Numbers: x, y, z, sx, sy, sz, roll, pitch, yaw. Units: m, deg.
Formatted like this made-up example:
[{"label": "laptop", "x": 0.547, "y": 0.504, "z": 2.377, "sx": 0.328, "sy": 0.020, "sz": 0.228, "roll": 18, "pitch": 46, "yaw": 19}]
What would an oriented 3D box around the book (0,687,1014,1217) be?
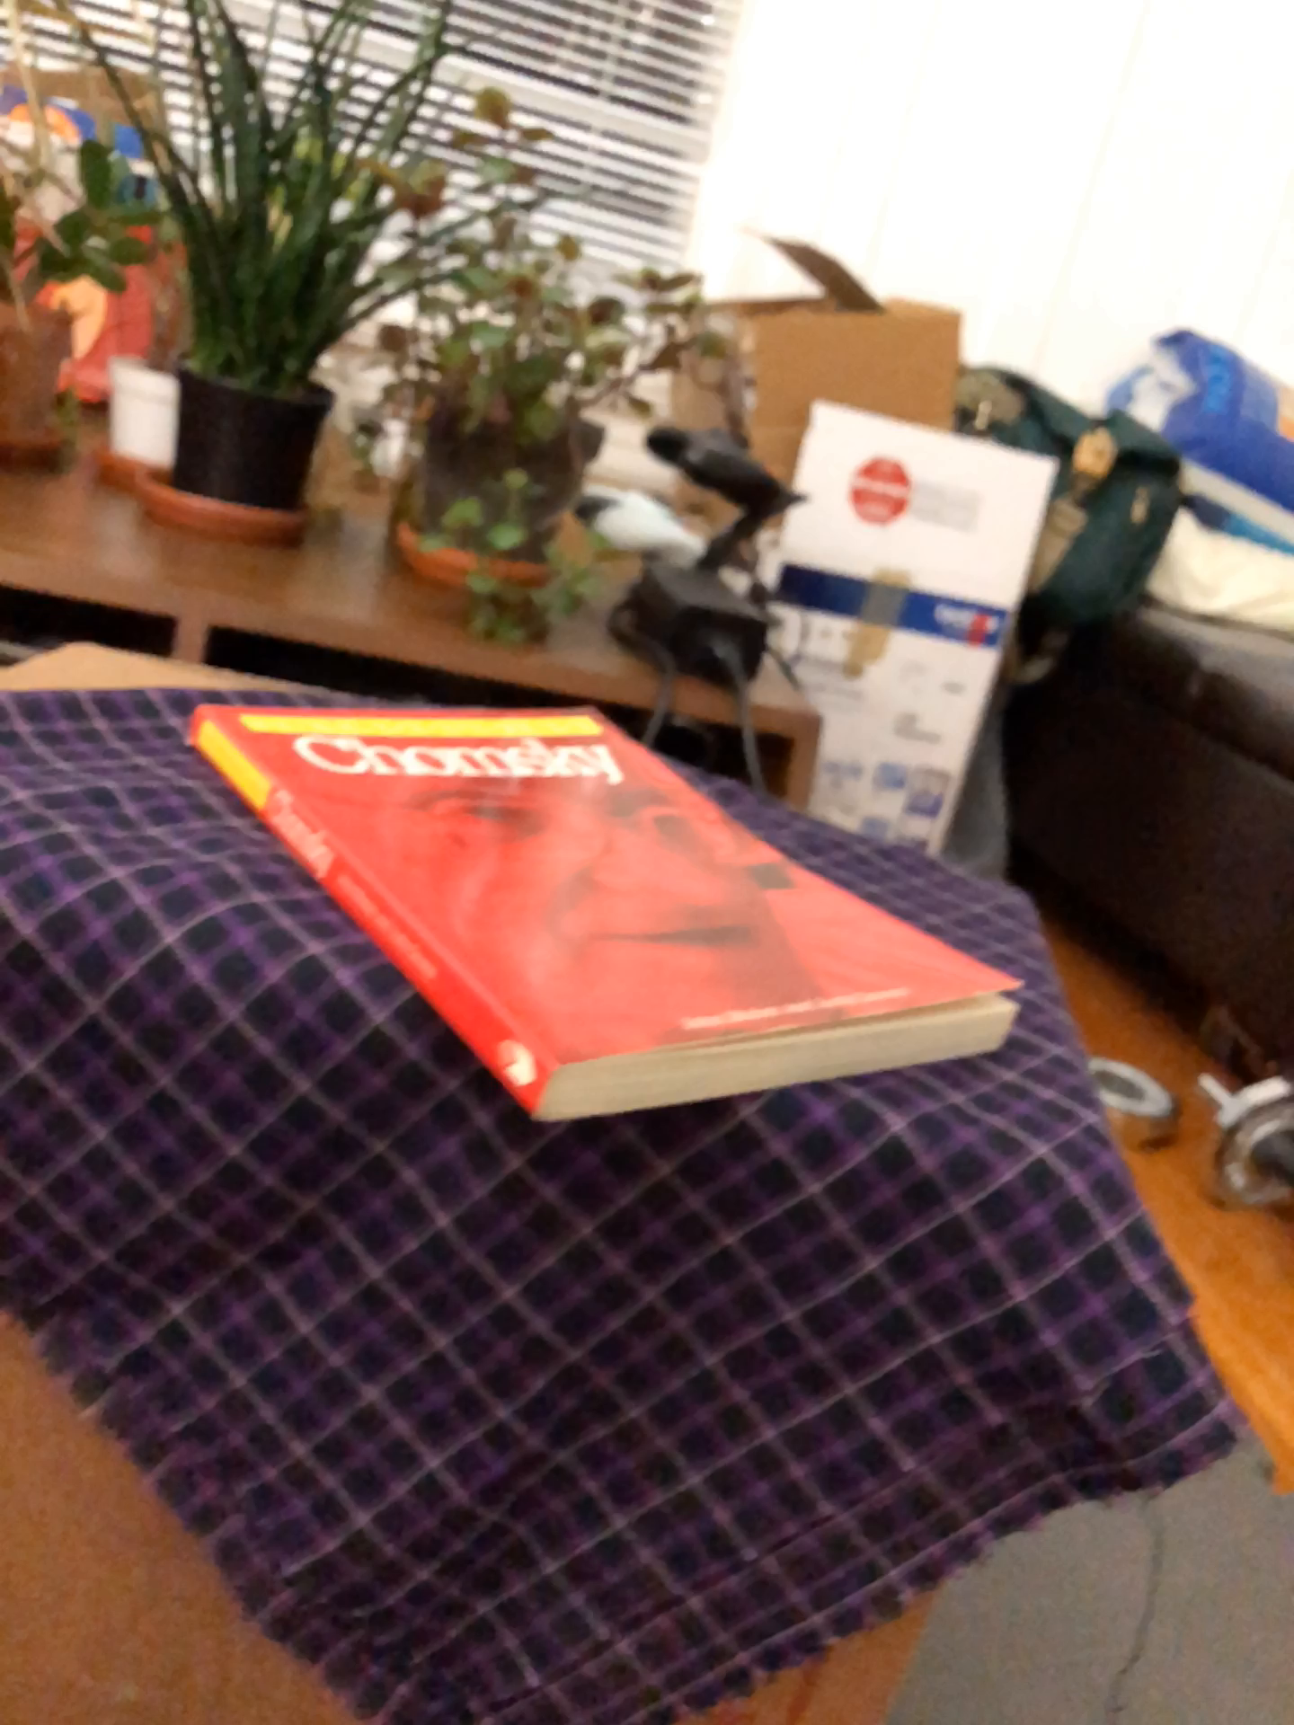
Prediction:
[{"label": "book", "x": -0.050, "y": 0.004, "z": 0.394, "sx": 0.180, "sy": 0.020, "sz": 0.241, "roll": -1, "pitch": 24, "yaw": -38}]
